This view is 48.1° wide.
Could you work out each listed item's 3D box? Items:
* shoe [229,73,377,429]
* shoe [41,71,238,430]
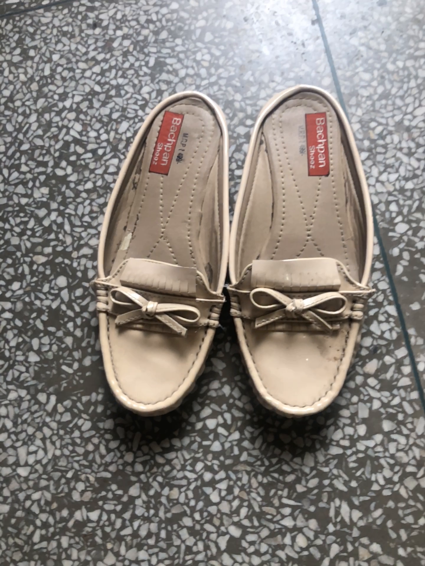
[{"bbox_3d":[0.056,-0.023,0.297,0.080,0.040,0.210,2,80,5],"label":"shoe"},{"bbox_3d":[-0.041,-0.025,0.313,0.090,0.040,0.220,6,81,6],"label":"shoe"}]
